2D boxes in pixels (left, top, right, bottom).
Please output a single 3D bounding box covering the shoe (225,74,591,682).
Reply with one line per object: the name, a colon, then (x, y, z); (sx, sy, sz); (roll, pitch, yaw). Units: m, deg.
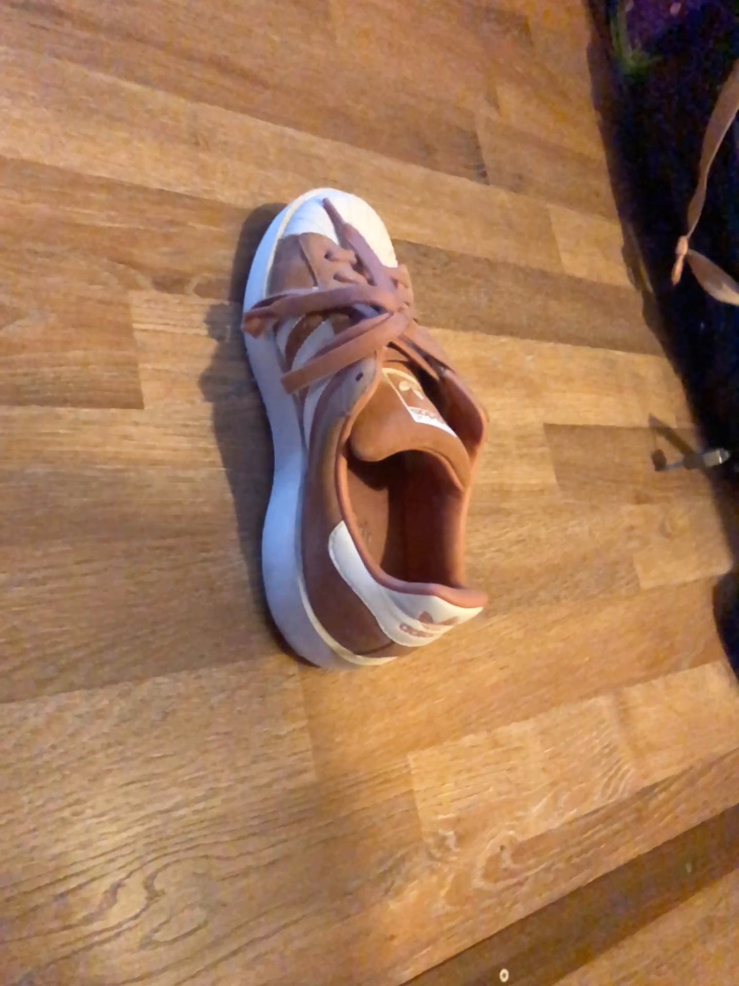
shoe: (0.010, -0.047, 0.411); (0.111, 0.109, 0.260); (6, 71, -37)
